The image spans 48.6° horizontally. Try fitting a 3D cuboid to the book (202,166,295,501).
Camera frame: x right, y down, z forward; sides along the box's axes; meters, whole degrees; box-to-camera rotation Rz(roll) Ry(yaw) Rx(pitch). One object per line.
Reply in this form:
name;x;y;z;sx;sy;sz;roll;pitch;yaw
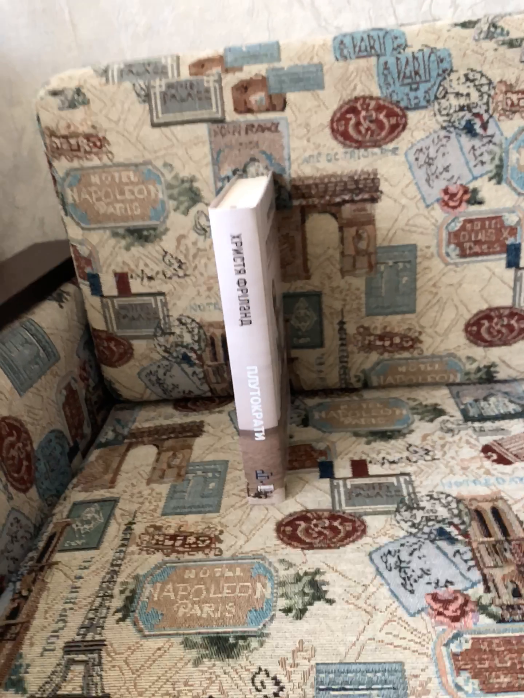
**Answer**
book;-0.002;-0.020;0.454;0.036;0.215;0.158;-4;23;6
